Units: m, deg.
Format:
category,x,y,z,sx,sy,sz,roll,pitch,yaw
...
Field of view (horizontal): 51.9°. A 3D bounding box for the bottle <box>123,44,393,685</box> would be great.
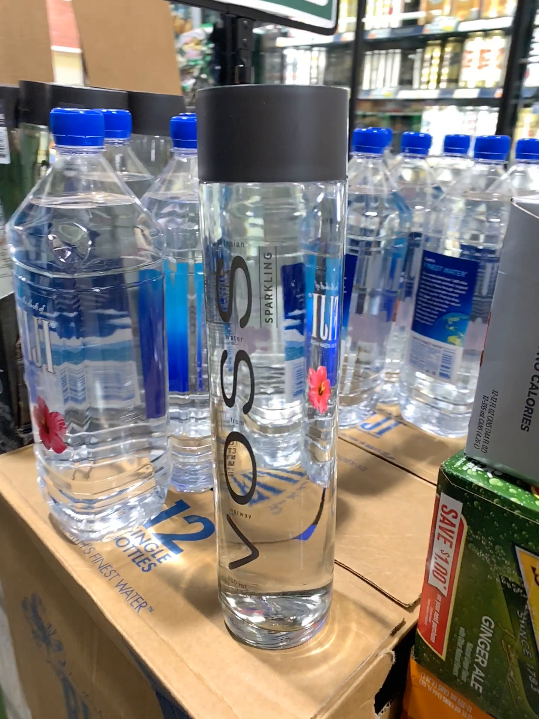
category,x,y,z,sx,sy,sz,roll,pitch,yaw
bottle,-0.006,0.011,0.284,0.080,0.289,0.080,1,21,0
